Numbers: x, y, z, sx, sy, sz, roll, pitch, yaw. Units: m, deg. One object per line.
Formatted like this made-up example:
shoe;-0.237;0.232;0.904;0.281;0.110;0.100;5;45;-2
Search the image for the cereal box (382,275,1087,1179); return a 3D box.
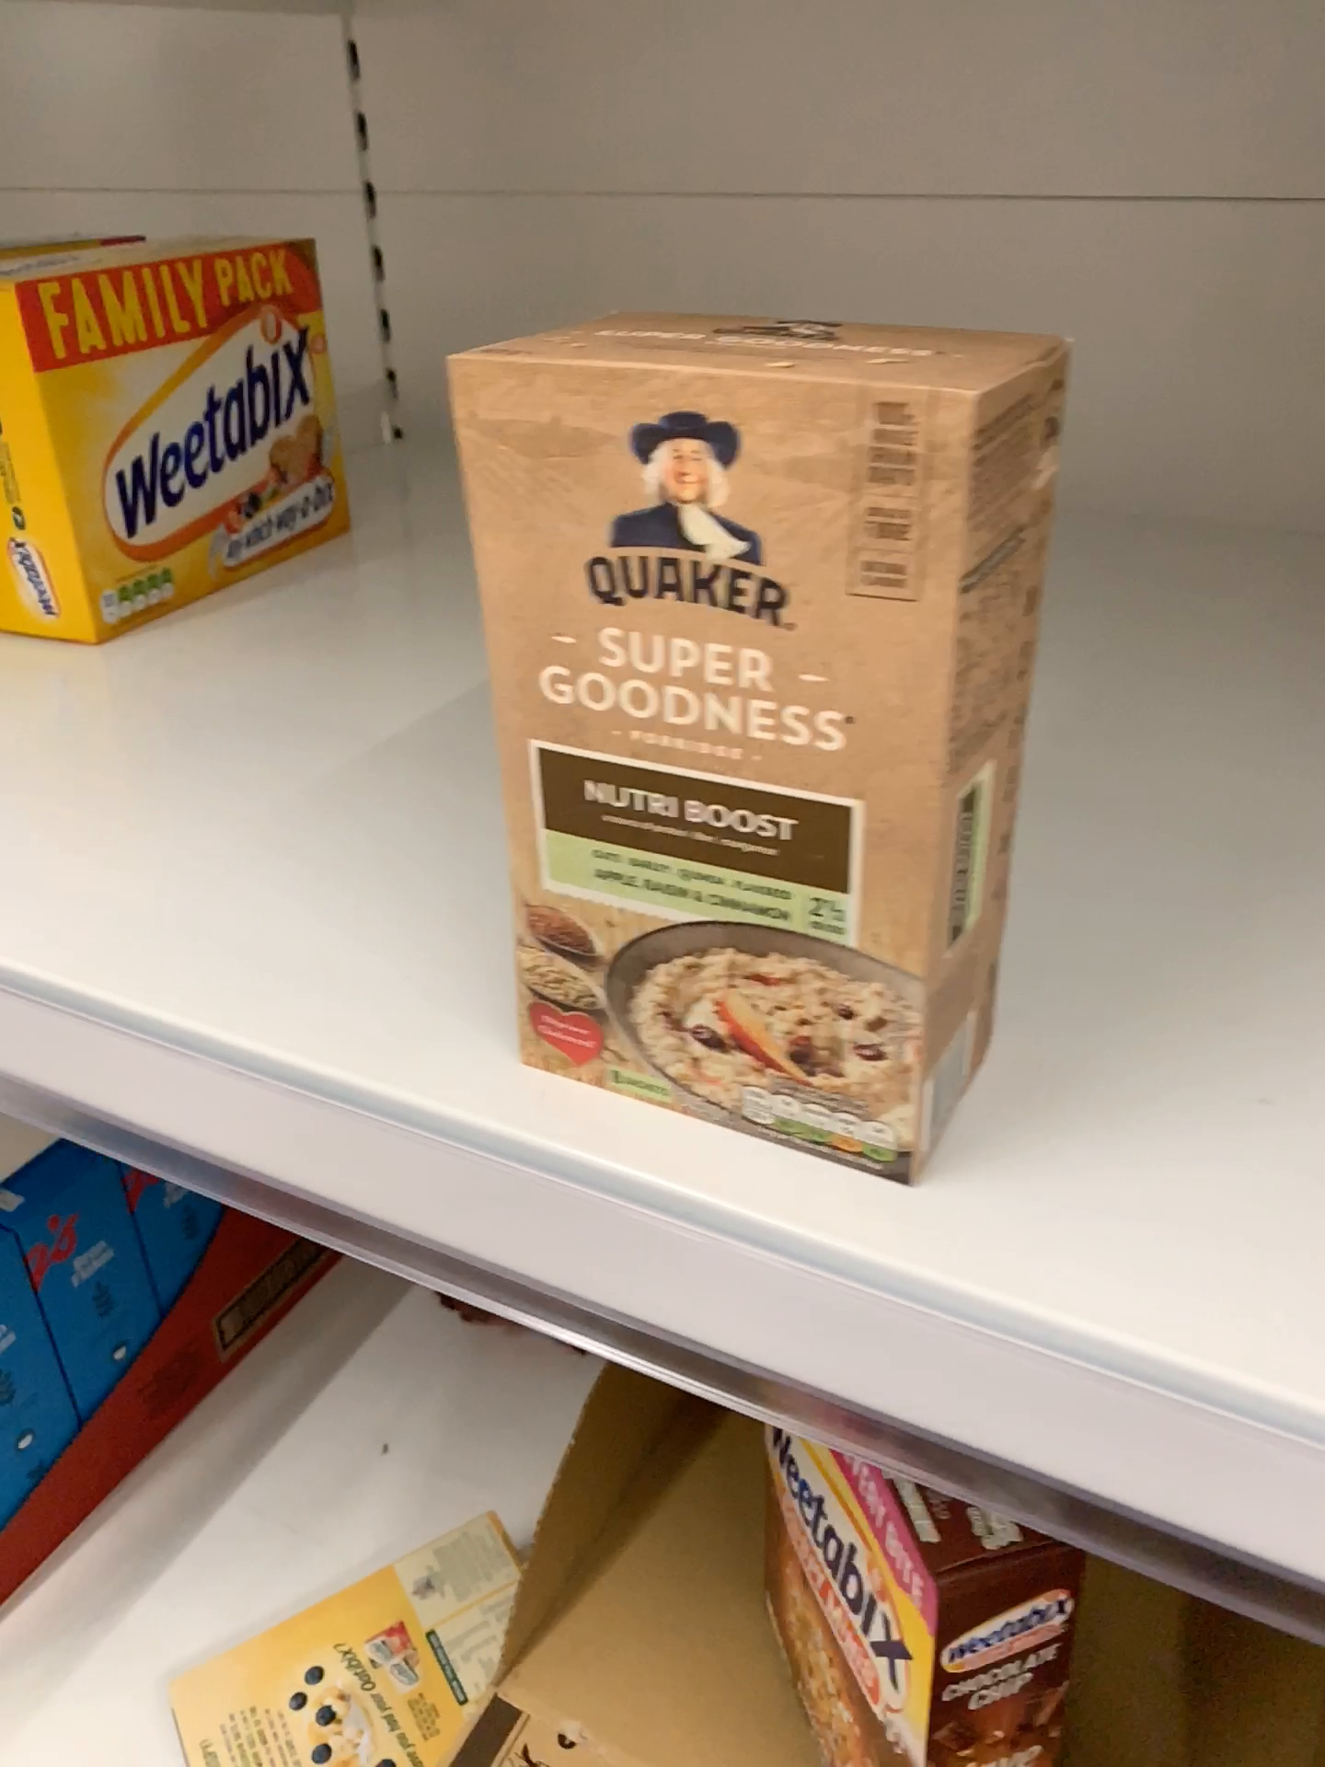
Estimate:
cereal box;0.018;-0.043;0.352;0.140;0.198;0.071;13;33;25
